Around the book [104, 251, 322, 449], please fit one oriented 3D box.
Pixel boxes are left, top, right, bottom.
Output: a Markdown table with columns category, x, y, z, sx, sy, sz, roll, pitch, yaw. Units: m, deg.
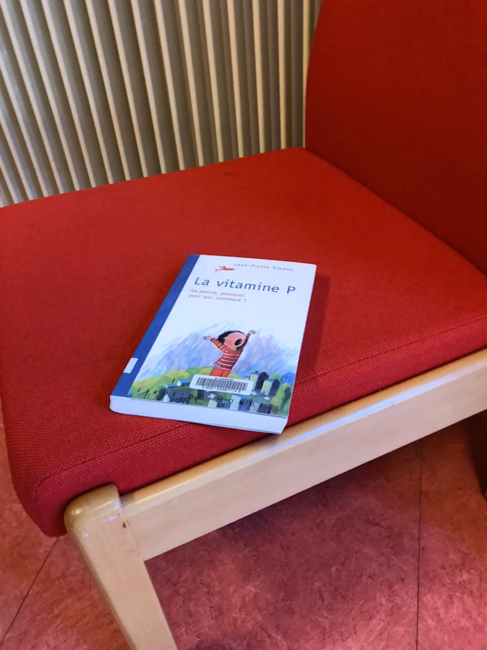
| category | x | y | z | sx | sy | sz | roll | pitch | yaw |
| --- | --- | --- | --- | --- | --- | --- | --- | --- | --- |
| book | -0.013 | 0.007 | 0.493 | 0.147 | 0.027 | 0.216 | 5 | 42 | 12 |
